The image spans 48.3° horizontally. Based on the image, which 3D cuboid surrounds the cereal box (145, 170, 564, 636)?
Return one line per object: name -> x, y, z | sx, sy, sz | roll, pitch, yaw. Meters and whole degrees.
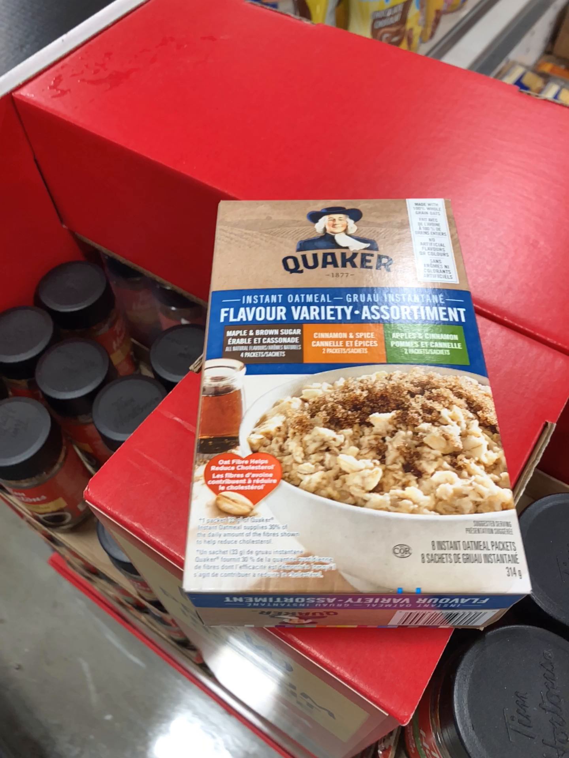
cereal box -> 0.025, 0.002, 0.297 | 0.140, 0.070, 0.210 | 0, 58, 1
